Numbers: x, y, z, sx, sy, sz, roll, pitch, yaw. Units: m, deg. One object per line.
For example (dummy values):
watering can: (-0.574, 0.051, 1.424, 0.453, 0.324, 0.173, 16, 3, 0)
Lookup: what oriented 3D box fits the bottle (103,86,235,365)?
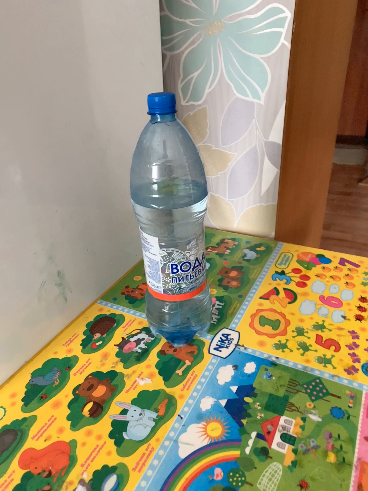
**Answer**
bottle: (-0.010, -0.019, 0.471, 0.100, 0.317, 0.101, -2, 29, 1)
